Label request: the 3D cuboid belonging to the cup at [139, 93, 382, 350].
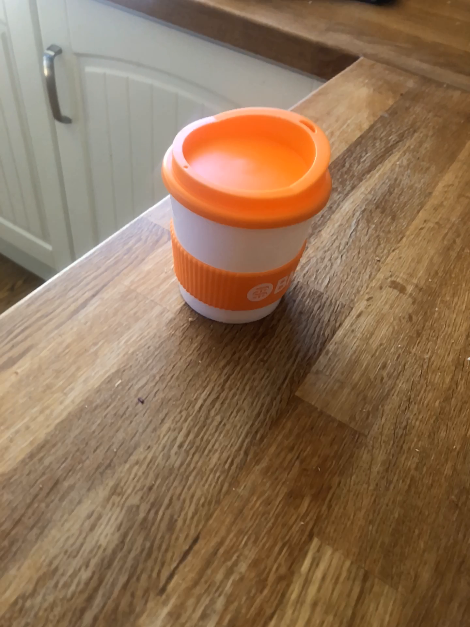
[{"bbox_3d":[0.007,-0.053,0.284,0.089,0.089,0.081,4,46,-5],"label":"cup"}]
